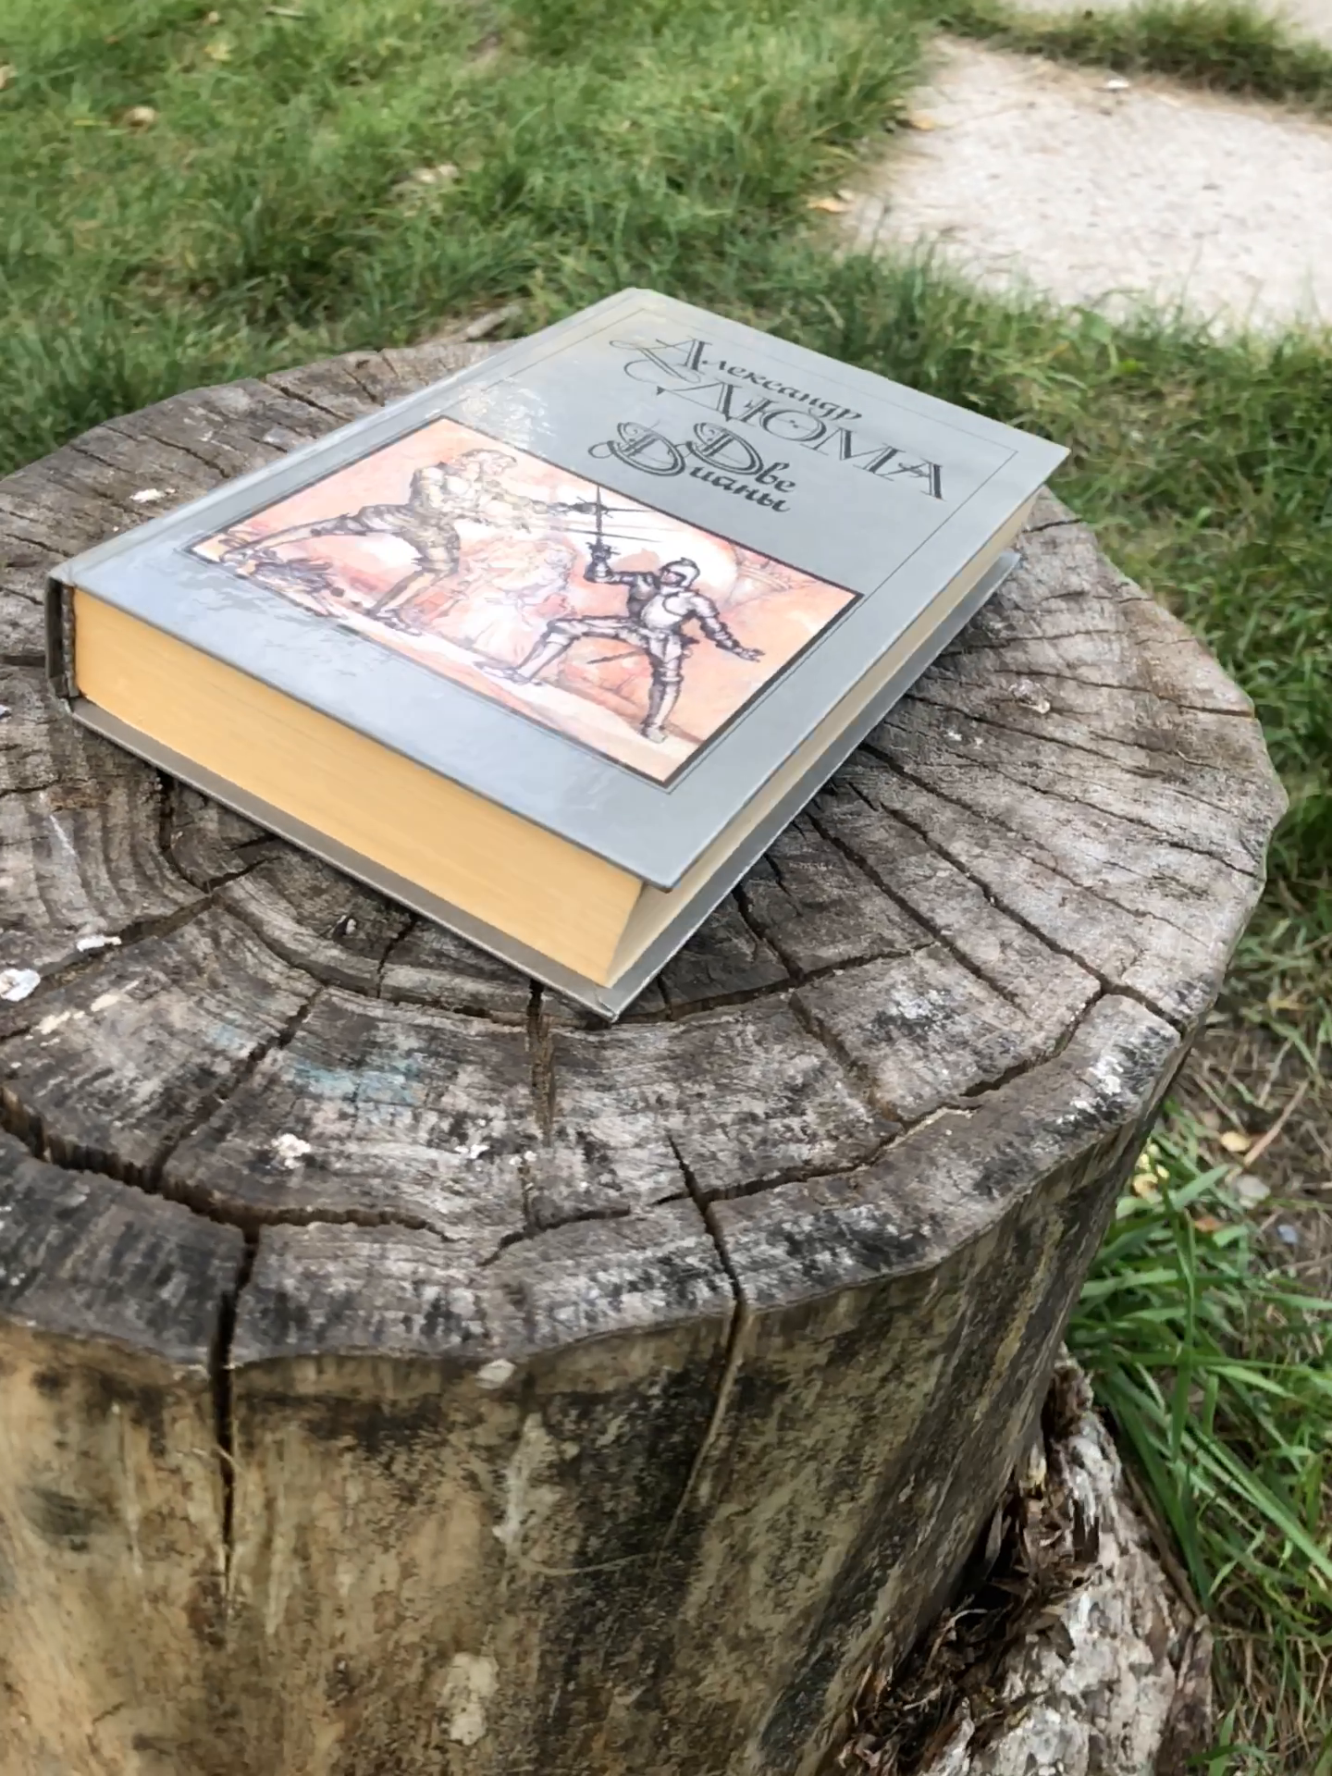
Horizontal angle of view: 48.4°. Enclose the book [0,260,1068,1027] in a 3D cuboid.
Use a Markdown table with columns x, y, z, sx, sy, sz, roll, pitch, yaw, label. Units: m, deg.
| x | y | z | sx | sy | sz | roll | pitch | yaw | label |
| --- | --- | --- | --- | --- | --- | --- | --- | --- | --- |
| -0.016 | -0.073 | 0.319 | 0.140 | 0.030 | 0.204 | 27 | 45 | 17 | book |
